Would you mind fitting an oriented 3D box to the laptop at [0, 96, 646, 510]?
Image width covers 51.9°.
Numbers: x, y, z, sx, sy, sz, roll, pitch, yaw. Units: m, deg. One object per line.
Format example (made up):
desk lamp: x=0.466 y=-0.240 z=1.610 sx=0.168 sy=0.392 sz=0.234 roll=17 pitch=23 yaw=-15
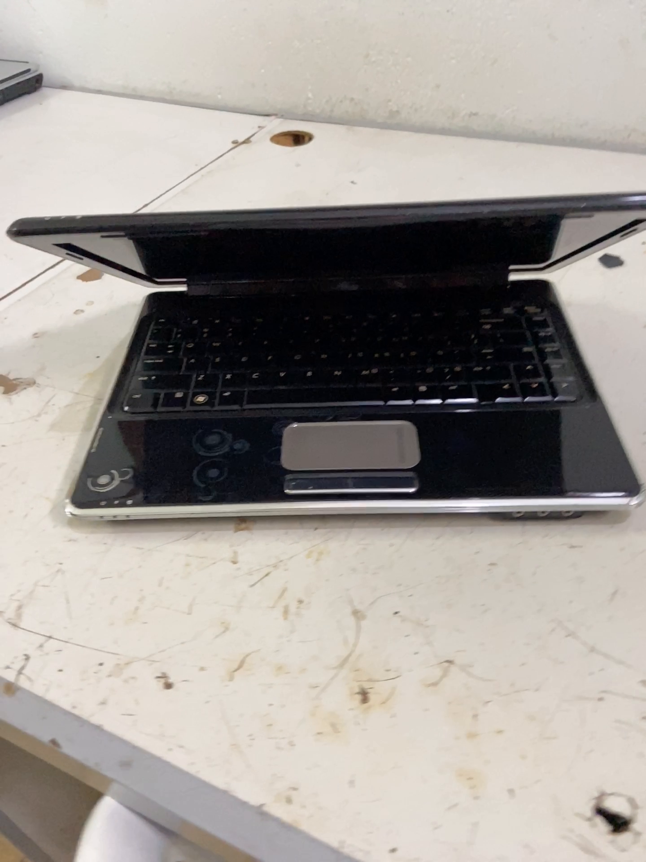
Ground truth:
laptop: x=0.015 y=-0.089 z=0.416 sx=0.327 sy=0.137 sz=0.232 roll=-1 pitch=44 yaw=3
